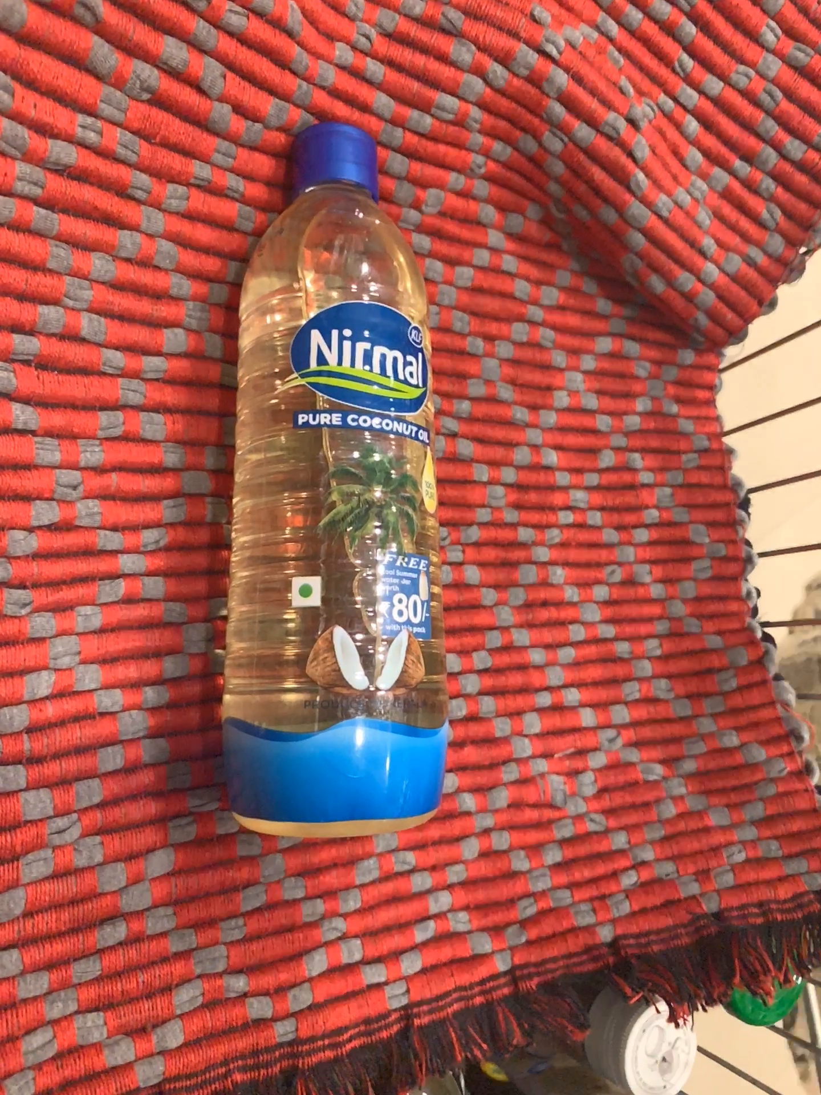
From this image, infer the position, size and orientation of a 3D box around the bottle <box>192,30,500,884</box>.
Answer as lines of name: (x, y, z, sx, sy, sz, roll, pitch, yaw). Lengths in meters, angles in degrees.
bottle: (-0.016, -0.022, 0.232, 0.060, 0.050, 0.200, 6, 81, -29)
